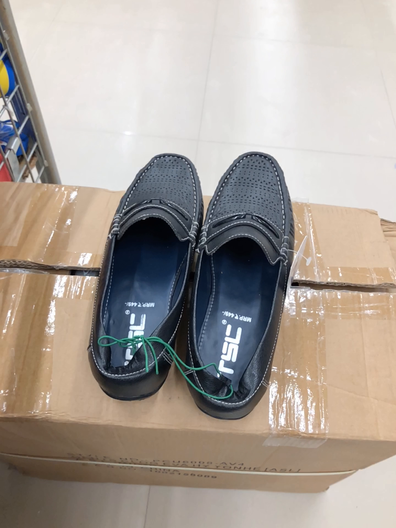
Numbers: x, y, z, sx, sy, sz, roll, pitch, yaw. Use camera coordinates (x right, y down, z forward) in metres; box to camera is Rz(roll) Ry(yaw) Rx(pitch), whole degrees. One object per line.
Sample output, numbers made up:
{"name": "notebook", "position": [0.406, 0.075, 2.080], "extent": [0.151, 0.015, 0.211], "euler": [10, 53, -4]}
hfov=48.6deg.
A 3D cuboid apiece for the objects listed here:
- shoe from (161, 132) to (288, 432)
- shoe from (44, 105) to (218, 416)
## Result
{"name": "shoe", "position": [0.037, 0.001, 0.469], "extent": [0.100, 0.089, 0.312], "euler": [7, 55, 2]}
{"name": "shoe", "position": [-0.047, -0.022, 0.446], "extent": [0.100, 0.089, 0.312], "euler": [7, 55, 2]}
